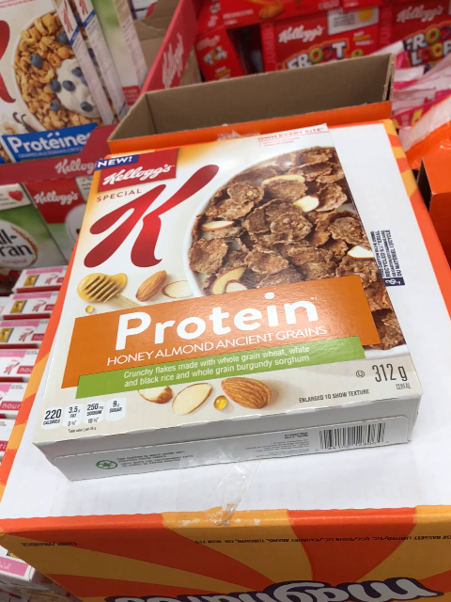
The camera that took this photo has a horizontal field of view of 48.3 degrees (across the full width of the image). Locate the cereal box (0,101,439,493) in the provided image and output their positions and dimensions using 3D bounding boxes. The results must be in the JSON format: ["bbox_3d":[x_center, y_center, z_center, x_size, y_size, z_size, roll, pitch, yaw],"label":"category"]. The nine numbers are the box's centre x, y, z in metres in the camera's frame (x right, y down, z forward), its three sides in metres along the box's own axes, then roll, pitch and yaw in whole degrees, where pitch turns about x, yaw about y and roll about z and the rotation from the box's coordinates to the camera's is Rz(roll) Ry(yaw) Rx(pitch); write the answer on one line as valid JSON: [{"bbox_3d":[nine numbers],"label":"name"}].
[{"bbox_3d":[-0.008,-0.024,0.333,0.200,0.060,0.261,-8,47,6],"label":"cereal box"}]
